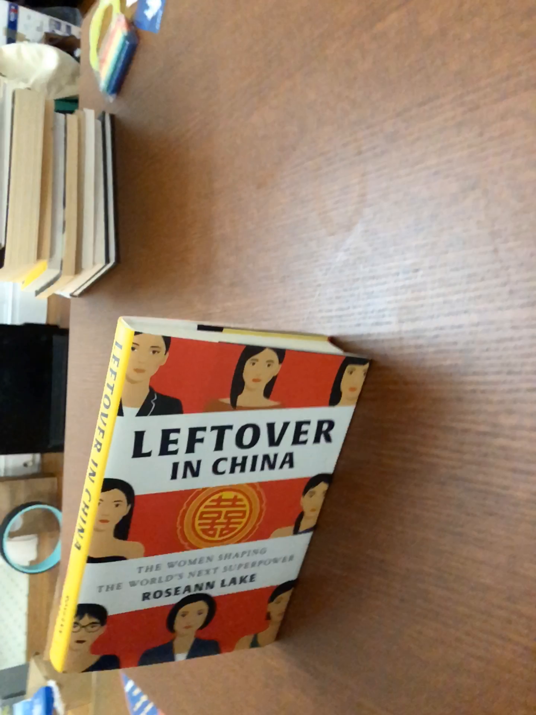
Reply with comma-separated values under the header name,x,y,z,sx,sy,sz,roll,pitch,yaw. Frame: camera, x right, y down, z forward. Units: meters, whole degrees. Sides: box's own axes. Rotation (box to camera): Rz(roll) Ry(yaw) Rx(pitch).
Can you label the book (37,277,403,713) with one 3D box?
name,x,y,z,sx,sy,sz,roll,pitch,yaw
book,-0.035,0.091,0.398,0.060,0.179,0.260,38,117,49
